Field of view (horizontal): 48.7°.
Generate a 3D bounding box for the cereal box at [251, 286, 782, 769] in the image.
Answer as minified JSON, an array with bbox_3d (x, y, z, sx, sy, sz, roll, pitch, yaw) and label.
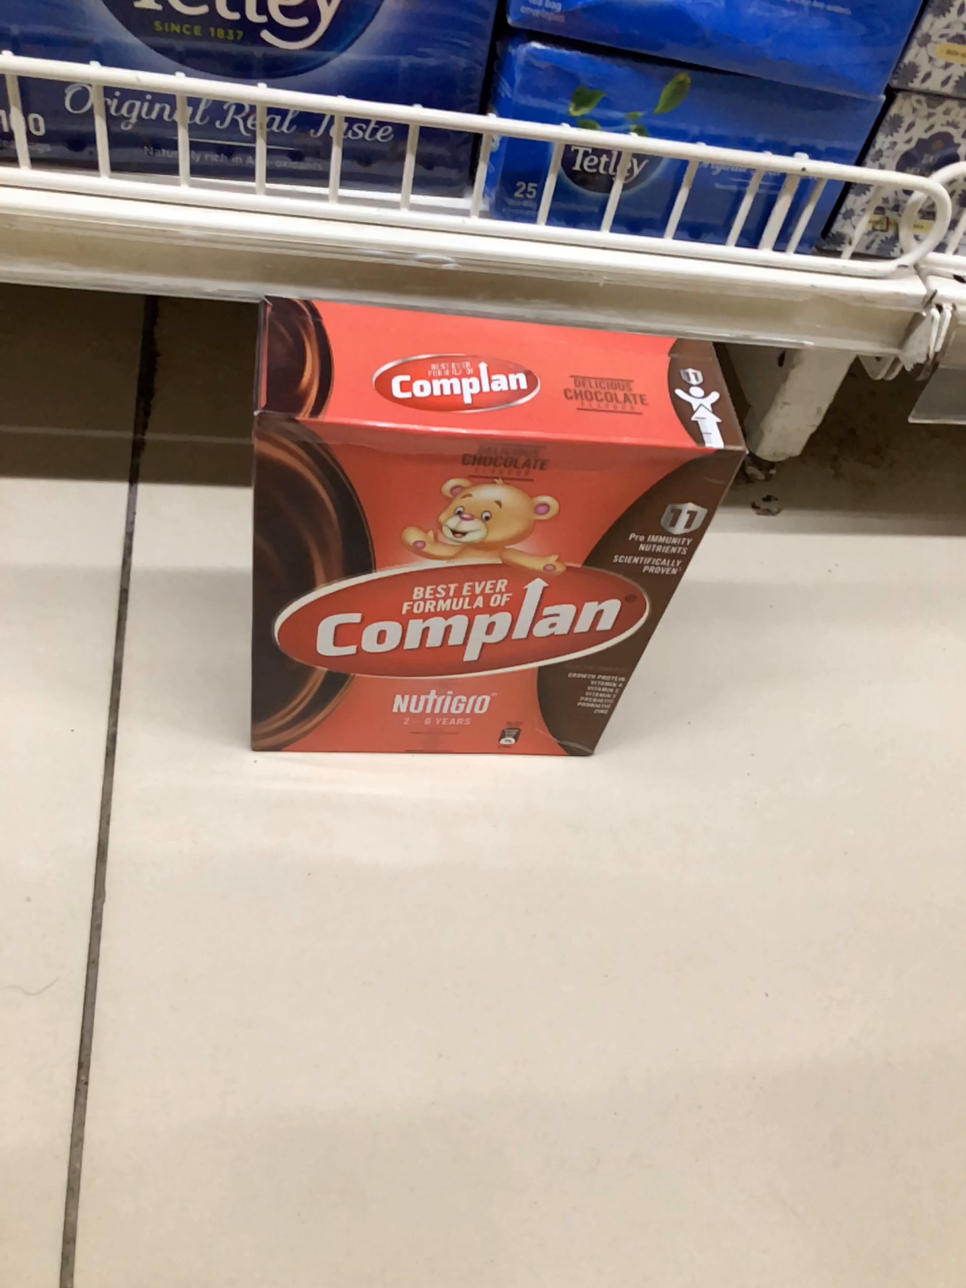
[{"bbox_3d":[-0.005,-0.024,0.363,0.140,0.179,0.050,2,54,-12],"label":"cereal box"}]
